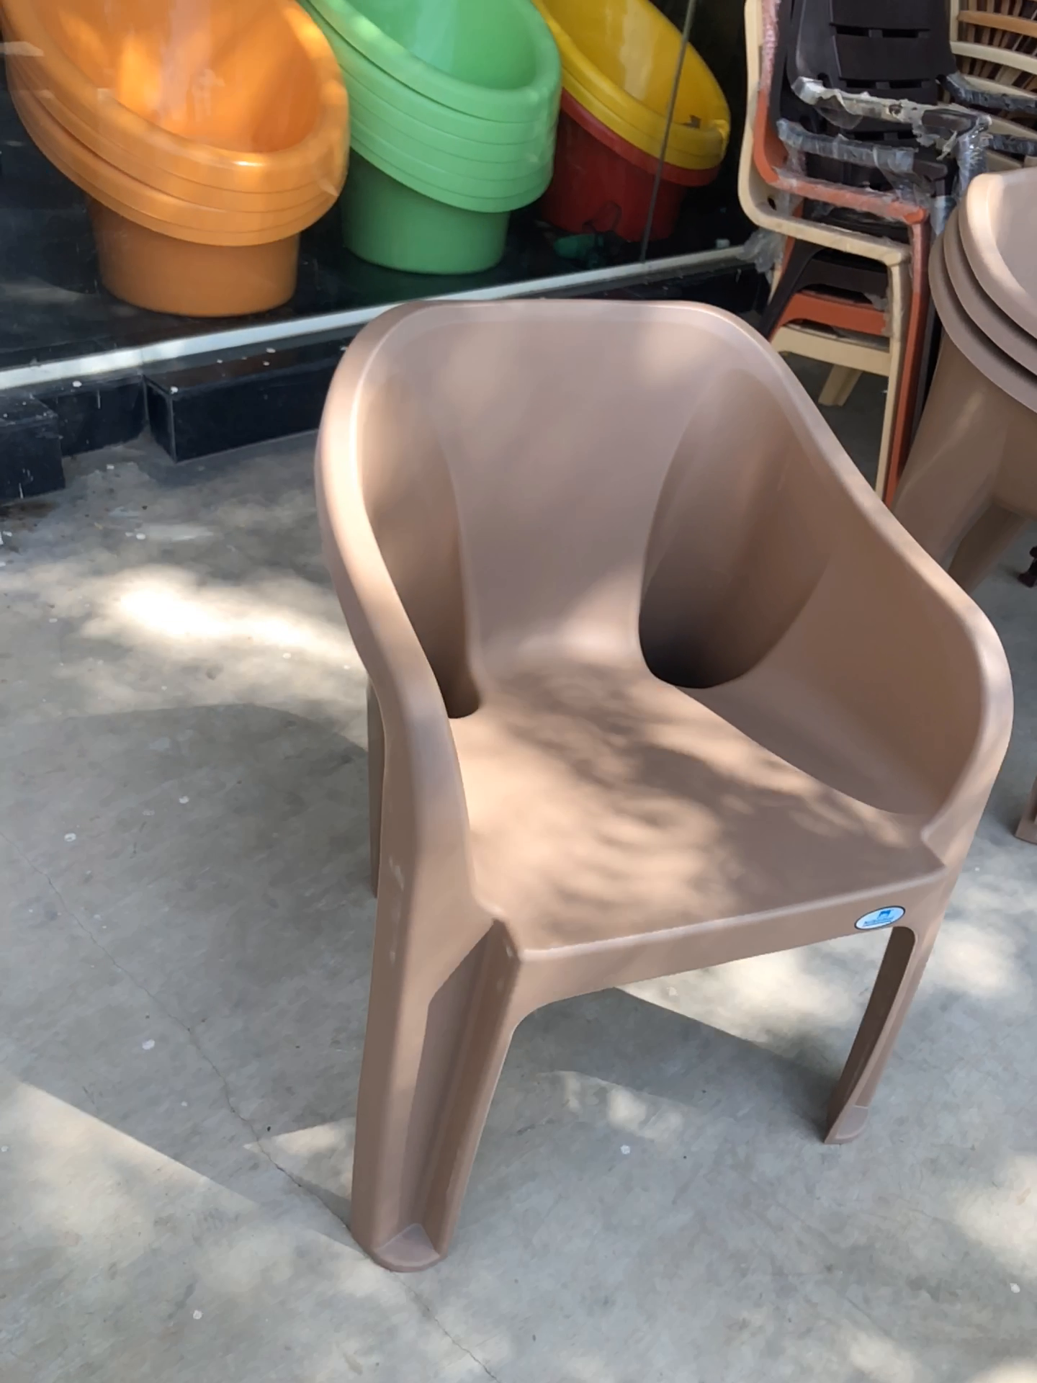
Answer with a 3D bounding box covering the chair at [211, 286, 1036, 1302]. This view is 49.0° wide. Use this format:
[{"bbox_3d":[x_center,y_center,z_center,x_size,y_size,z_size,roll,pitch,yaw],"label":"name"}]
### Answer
[{"bbox_3d":[0.072,0.025,1.179,0.642,0.636,0.722,-7,39,-20],"label":"chair"}]
